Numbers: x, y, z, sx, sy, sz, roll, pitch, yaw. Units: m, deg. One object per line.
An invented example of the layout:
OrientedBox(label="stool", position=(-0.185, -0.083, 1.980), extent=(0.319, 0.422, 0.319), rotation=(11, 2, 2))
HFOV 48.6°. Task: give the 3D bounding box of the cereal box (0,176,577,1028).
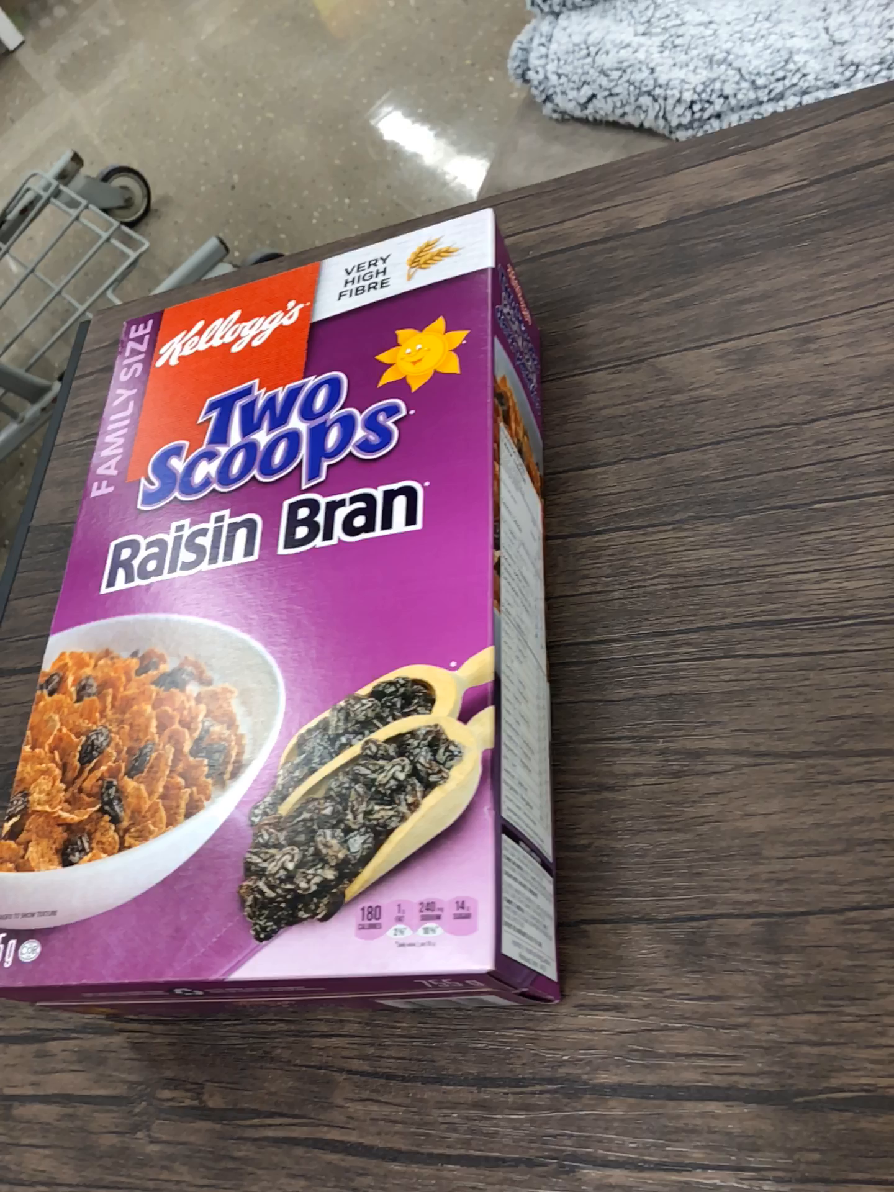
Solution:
OrientedBox(label="cereal box", position=(-0.066, -0.001, 0.409), extent=(0.210, 0.080, 0.320), rotation=(-10, 60, 20))
